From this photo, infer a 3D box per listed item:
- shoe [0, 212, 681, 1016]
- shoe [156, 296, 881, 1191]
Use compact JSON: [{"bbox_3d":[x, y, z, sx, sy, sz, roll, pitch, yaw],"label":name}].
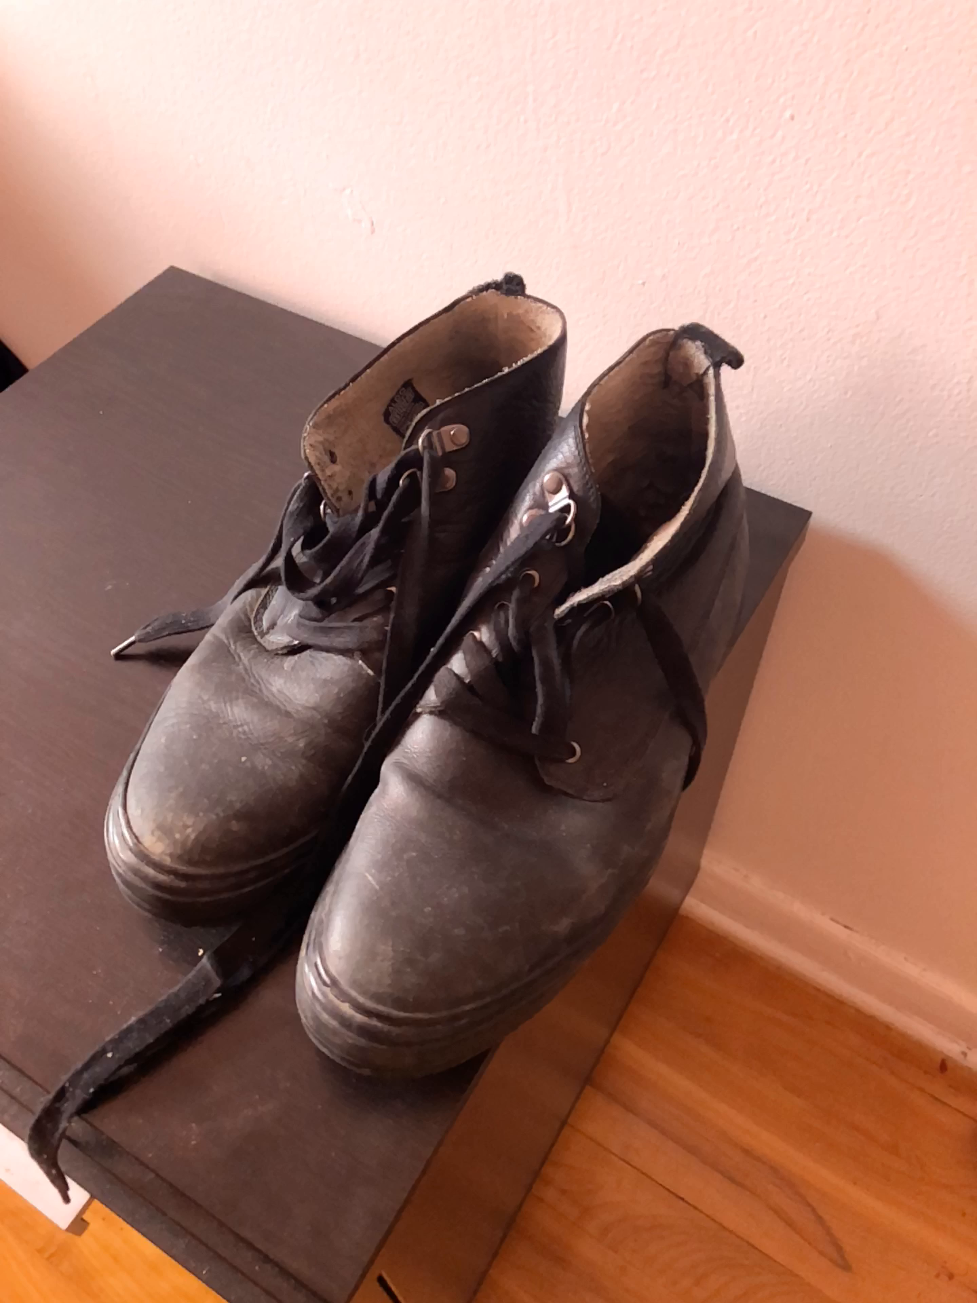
[{"bbox_3d":[-0.055,-0.040,0.459,0.120,0.109,0.342,26,58,20],"label":"shoe"},{"bbox_3d":[0.036,0.010,0.436,0.120,0.109,0.342,23,56,18],"label":"shoe"}]
